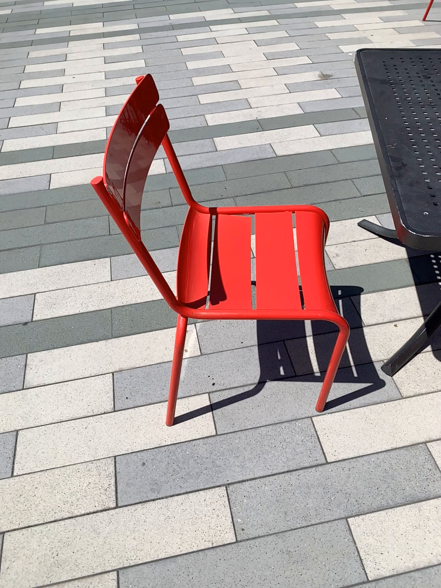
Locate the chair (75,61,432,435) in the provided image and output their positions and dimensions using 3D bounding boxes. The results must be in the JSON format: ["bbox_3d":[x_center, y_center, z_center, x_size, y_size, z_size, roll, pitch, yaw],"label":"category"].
[{"bbox_3d":[0.066,-0.079,1.242,0.580,0.845,0.583,0,47,2],"label":"chair"}]
